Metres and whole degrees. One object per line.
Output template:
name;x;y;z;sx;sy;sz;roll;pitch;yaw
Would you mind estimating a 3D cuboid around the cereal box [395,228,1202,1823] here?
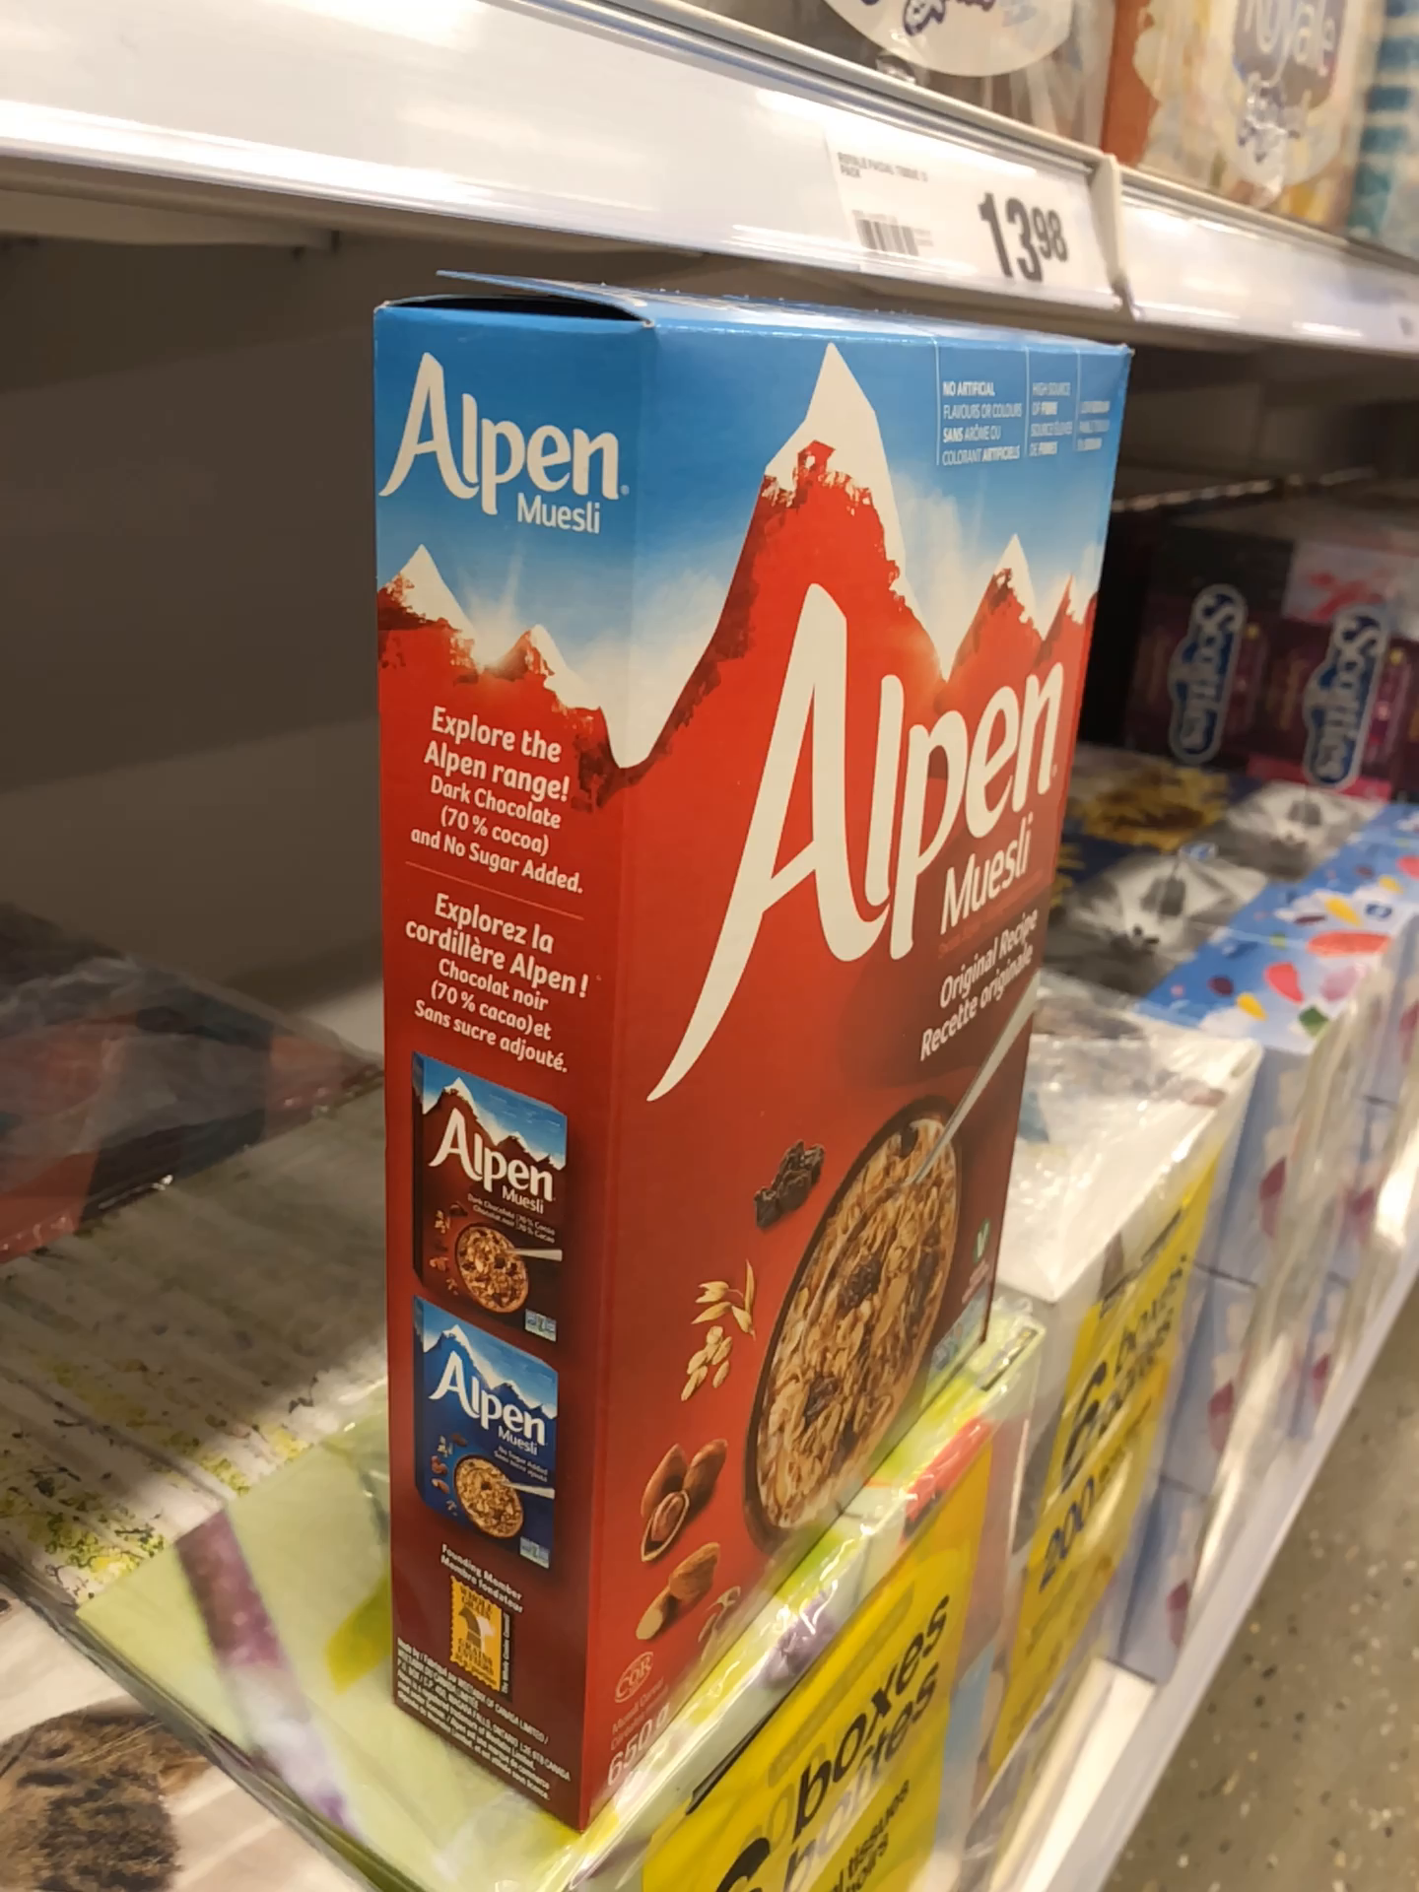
cereal box;0.022;0.001;0.295;0.050;0.229;0.180;16;24;27
